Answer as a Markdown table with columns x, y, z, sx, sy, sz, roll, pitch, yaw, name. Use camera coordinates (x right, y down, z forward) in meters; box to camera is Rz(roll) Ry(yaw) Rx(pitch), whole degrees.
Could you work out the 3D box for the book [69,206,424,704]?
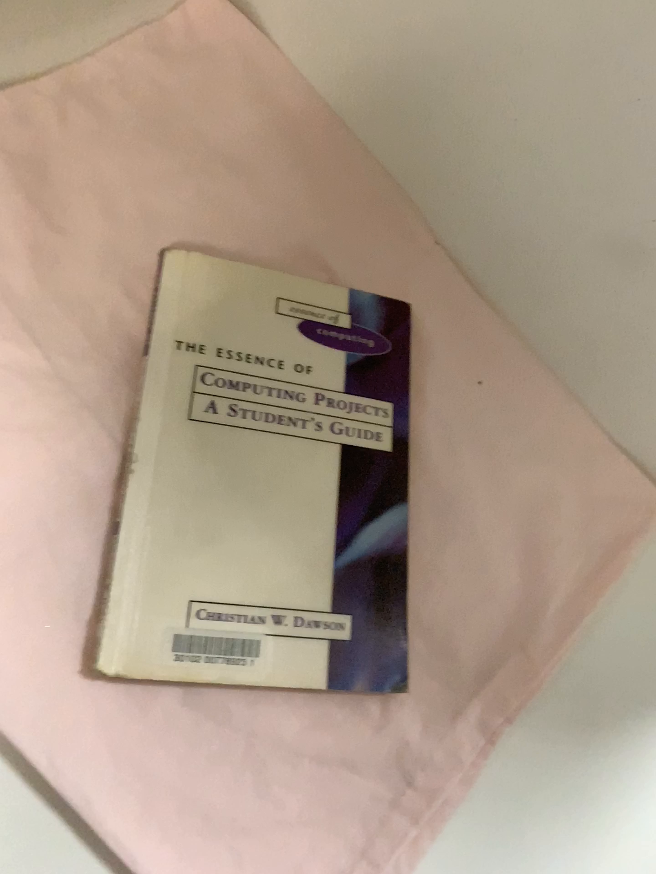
| x | y | z | sx | sy | sz | roll | pitch | yaw | name |
| --- | --- | --- | --- | --- | --- | --- | --- | --- | --- |
| -0.030 | 0.004 | 0.376 | 0.170 | 0.020 | 0.261 | 9 | 69 | -15 | book |
